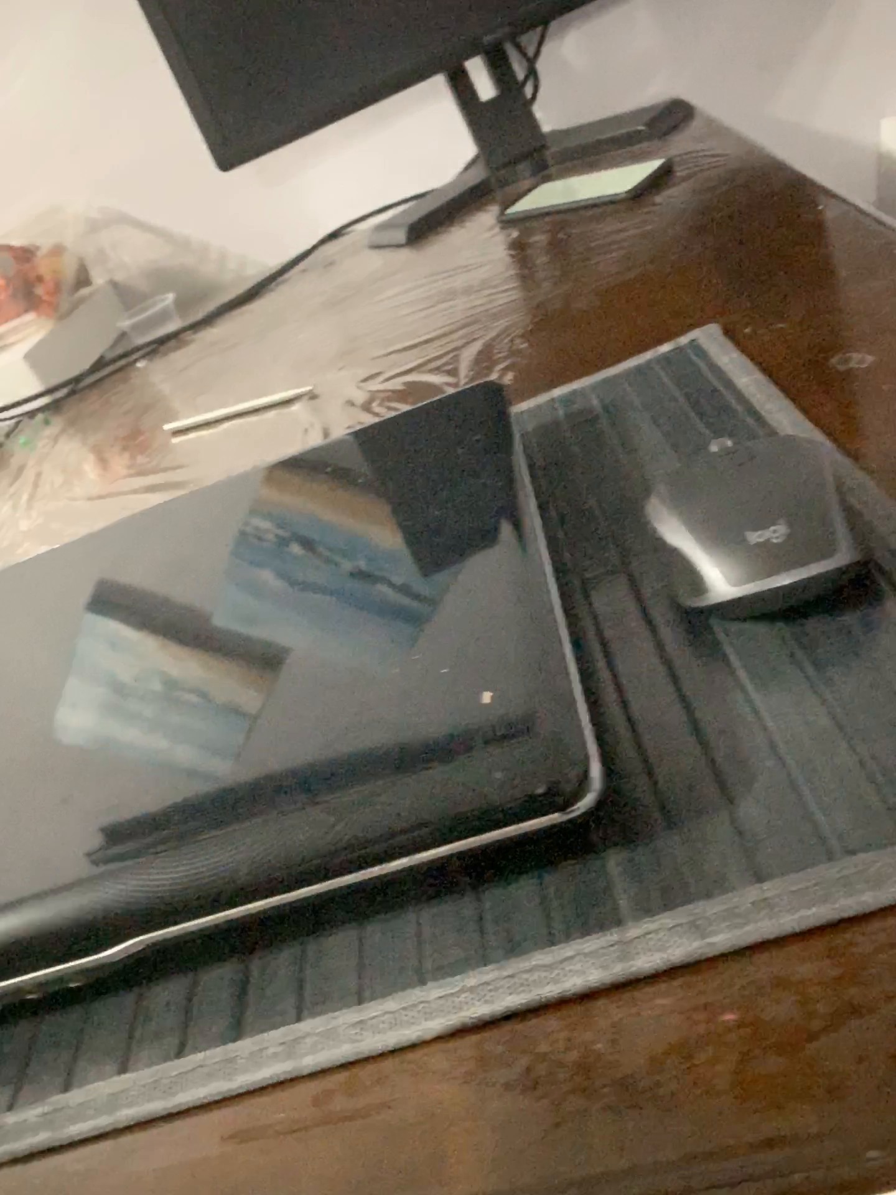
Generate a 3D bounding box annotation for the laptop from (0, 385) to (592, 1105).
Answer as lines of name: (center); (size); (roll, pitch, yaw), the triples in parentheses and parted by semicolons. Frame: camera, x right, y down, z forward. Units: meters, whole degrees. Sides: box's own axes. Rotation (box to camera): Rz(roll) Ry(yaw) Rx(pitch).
laptop: (-0.130, 0.029, 0.348); (0.339, 0.009, 0.232); (-18, 35, 8)
